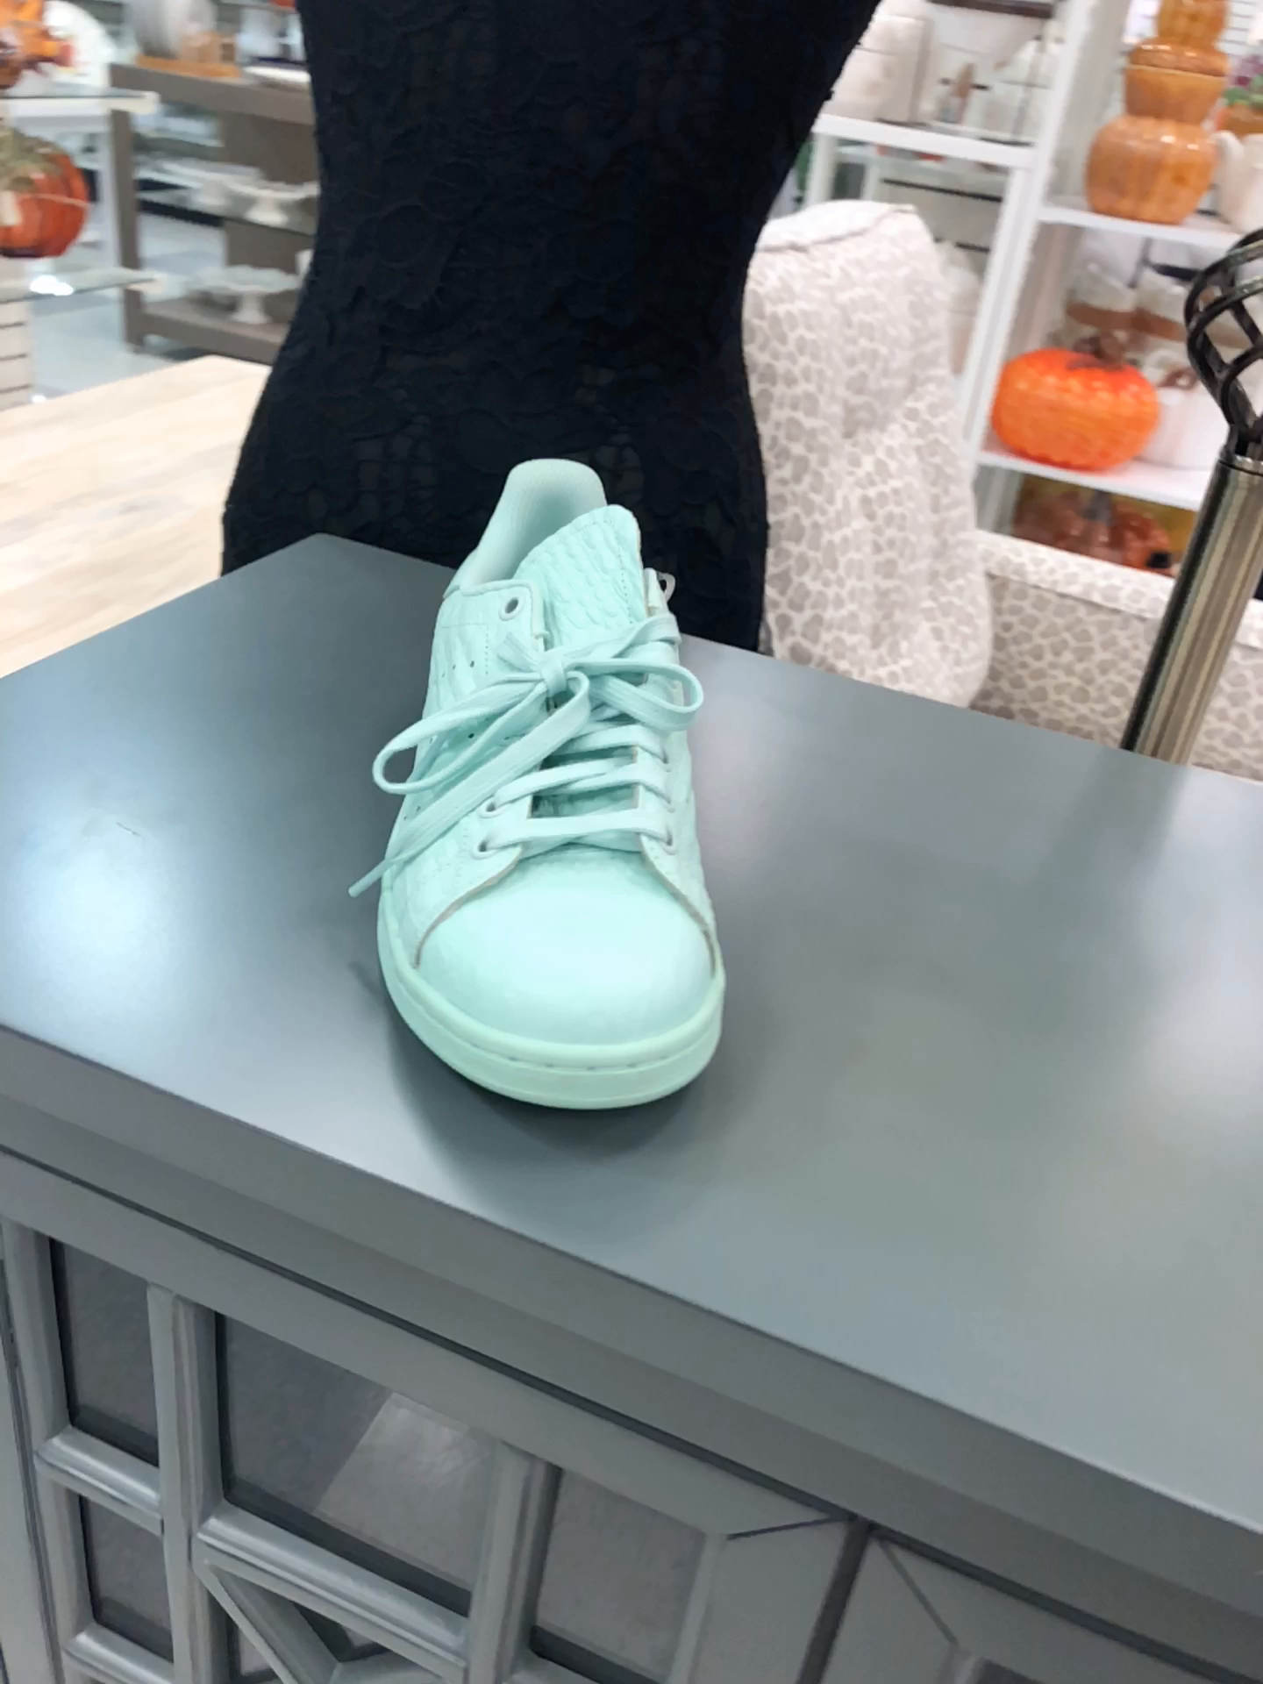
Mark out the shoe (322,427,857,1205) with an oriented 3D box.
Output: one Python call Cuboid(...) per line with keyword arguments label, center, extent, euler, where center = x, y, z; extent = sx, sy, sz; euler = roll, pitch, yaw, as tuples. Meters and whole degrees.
Cuboid(label="shoe", center=(-0.028, -0.028, 0.410), extent=(0.106, 0.112, 0.253), euler=(2, 31, -10))
